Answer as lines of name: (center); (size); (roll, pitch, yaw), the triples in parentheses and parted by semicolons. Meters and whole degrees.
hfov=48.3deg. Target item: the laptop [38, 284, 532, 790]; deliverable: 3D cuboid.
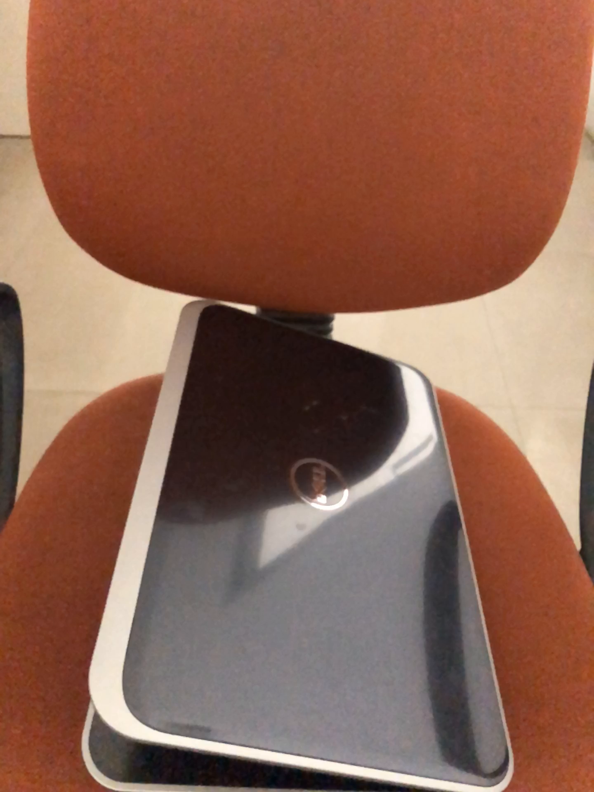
laptop: (-0.002, 0.063, 0.481); (0.233, 0.090, 0.368); (3, 42, -2)
